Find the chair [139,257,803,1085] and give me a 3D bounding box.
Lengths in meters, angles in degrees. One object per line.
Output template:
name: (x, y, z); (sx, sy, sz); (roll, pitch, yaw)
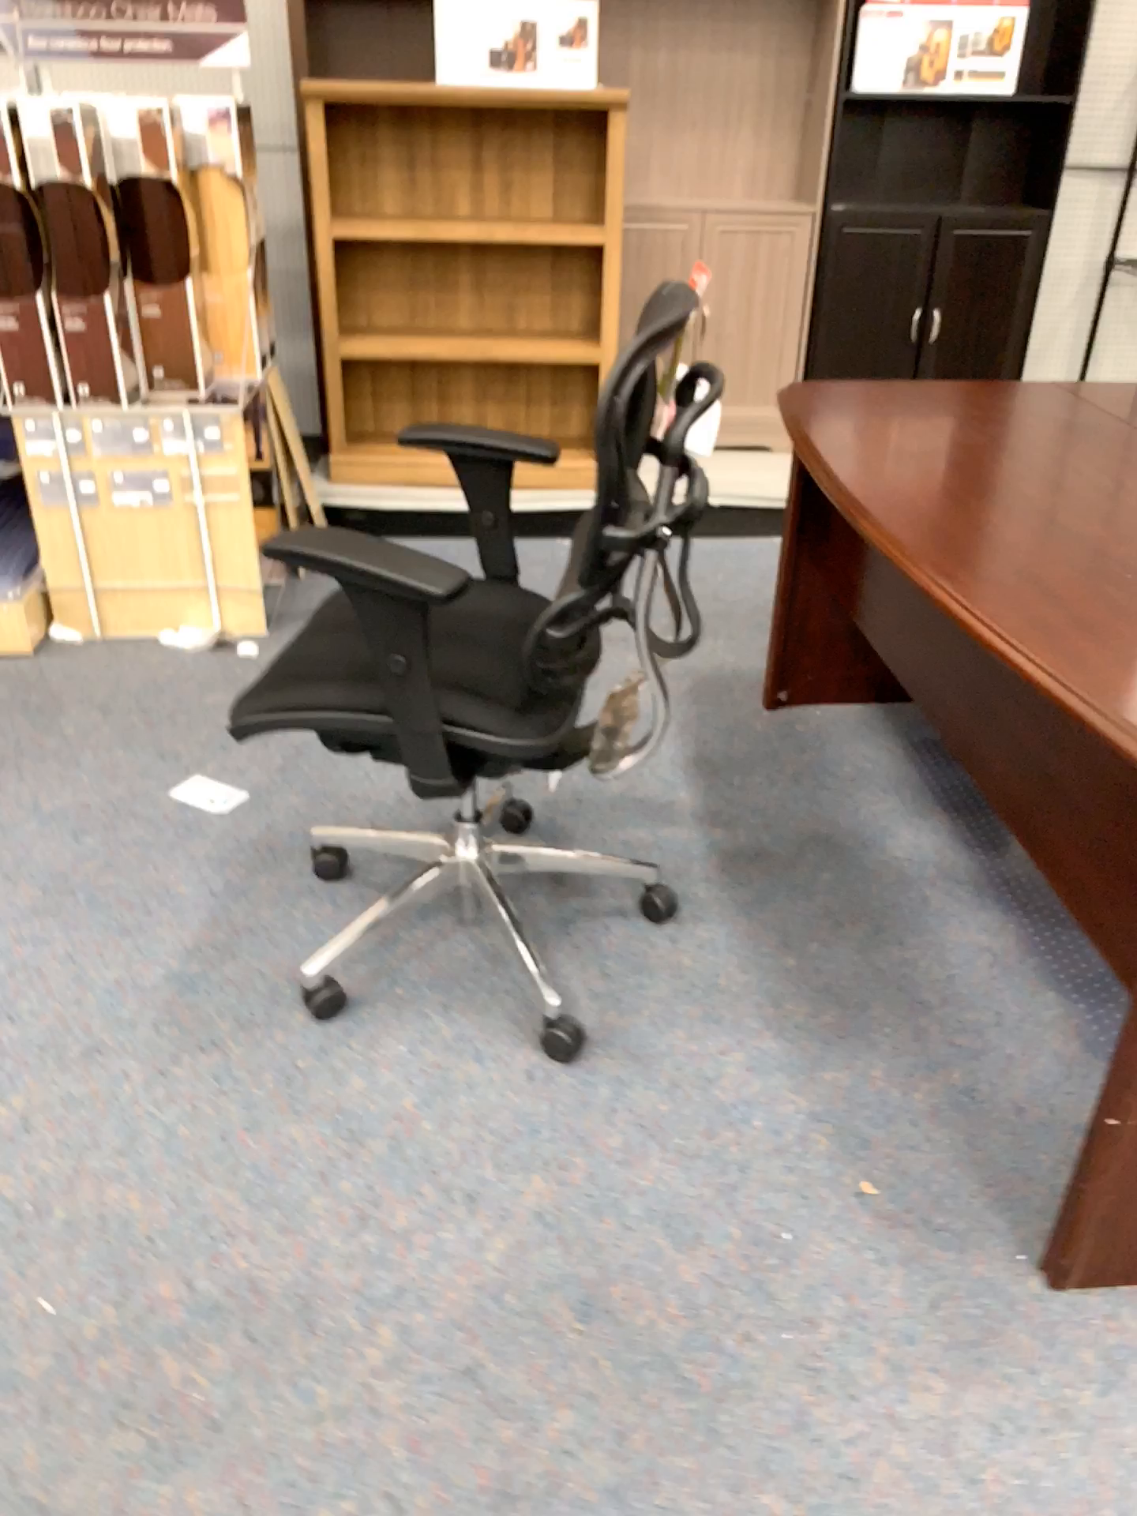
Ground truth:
chair: (-0.090, -0.157, 1.742); (0.684, 0.983, 0.701); (3, 30, 3)
